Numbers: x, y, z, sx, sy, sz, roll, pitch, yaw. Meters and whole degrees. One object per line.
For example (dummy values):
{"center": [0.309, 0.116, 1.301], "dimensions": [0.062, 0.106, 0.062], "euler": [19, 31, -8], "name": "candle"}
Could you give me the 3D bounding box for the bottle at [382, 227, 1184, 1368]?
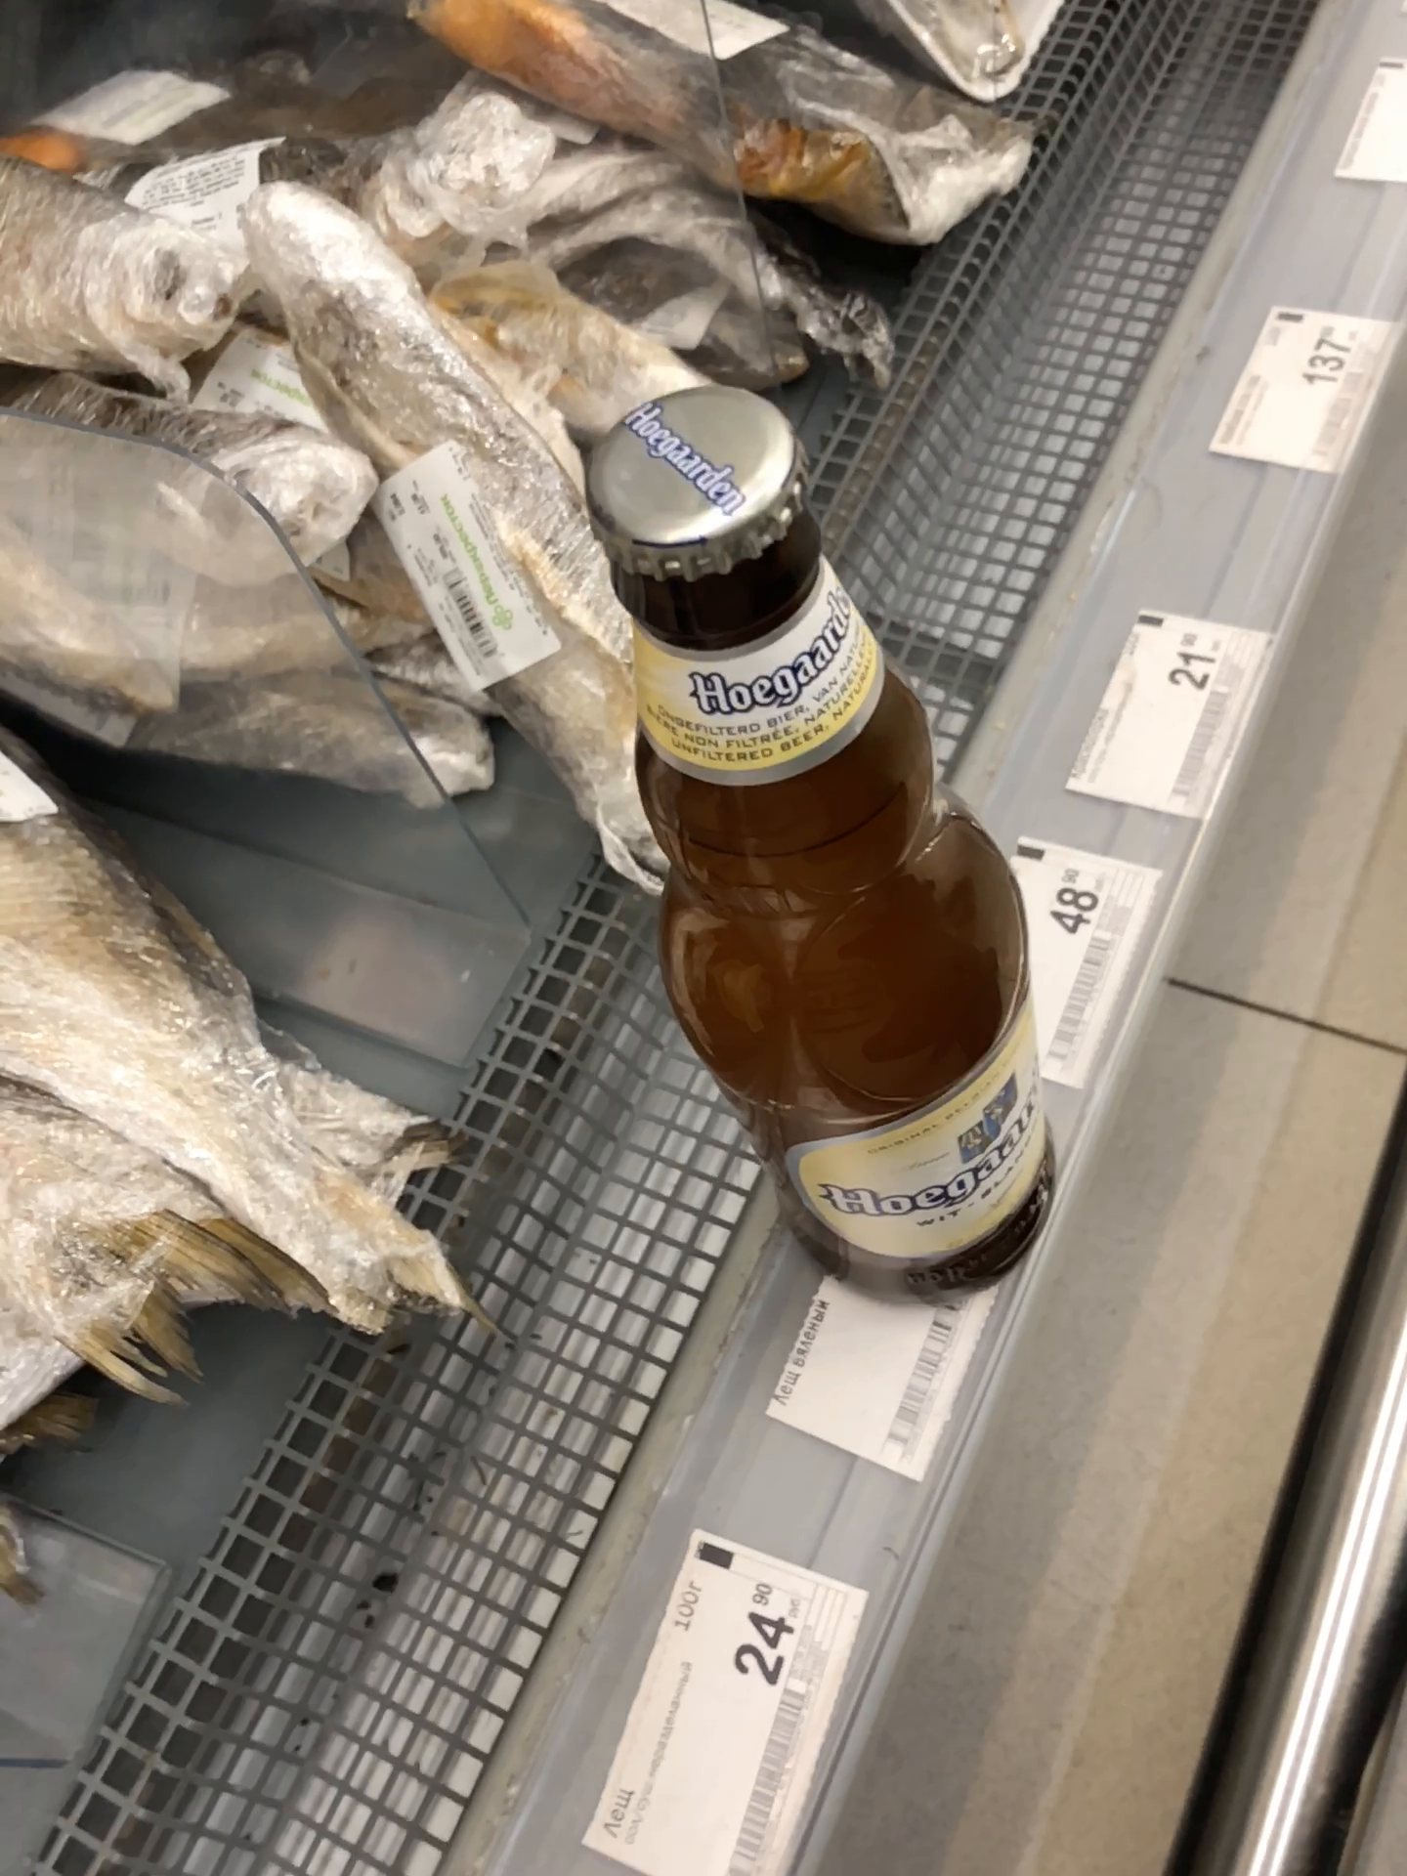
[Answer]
{"center": [0.031, 0.000, 0.287], "dimensions": [0.070, 0.229, 0.070], "euler": [-6, 60, 10], "name": "bottle"}
